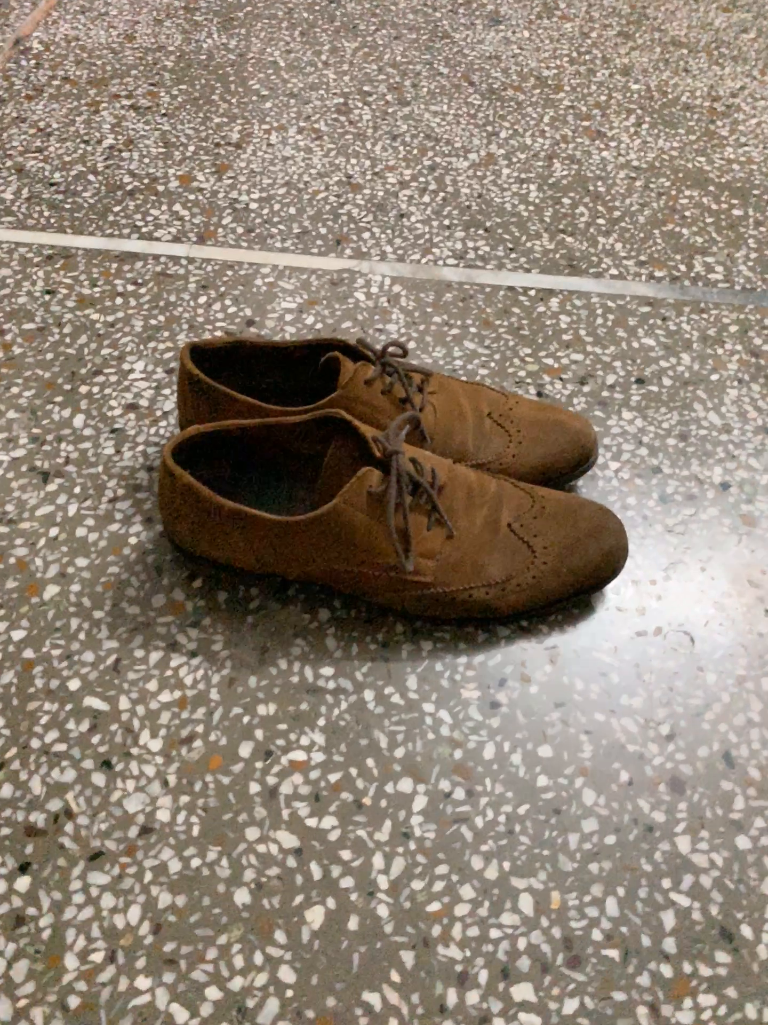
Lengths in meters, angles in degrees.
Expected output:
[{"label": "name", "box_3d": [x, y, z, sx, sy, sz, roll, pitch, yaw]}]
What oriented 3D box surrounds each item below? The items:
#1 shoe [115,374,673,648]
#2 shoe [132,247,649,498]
[{"label": "shoe", "box_3d": [0.006, 0.002, 0.508, 0.310, 0.110, 0.100, 6, 53, 0]}, {"label": "shoe", "box_3d": [0.003, -0.094, 0.544, 0.310, 0.110, 0.100, 4, 53, -1]}]
